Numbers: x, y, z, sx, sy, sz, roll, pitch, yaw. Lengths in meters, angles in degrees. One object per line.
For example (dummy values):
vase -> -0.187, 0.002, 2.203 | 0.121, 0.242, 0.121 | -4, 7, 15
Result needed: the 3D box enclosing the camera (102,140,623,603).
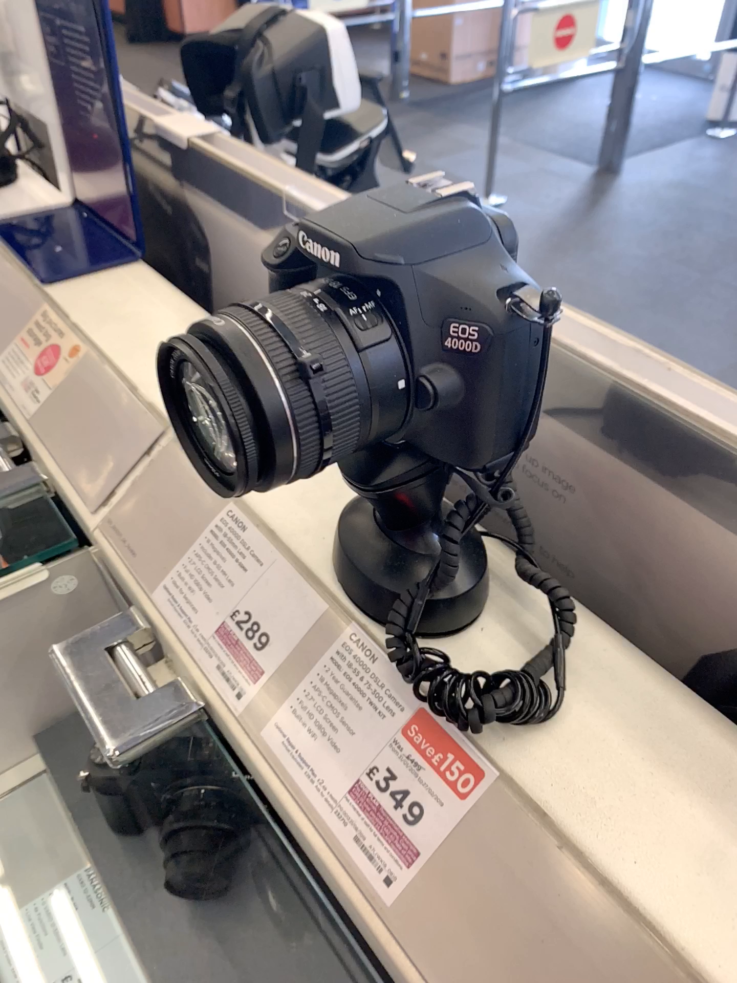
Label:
camera -> -0.008, -0.061, 0.311 | 0.136, 0.101, 0.141 | -23, 45, -25
